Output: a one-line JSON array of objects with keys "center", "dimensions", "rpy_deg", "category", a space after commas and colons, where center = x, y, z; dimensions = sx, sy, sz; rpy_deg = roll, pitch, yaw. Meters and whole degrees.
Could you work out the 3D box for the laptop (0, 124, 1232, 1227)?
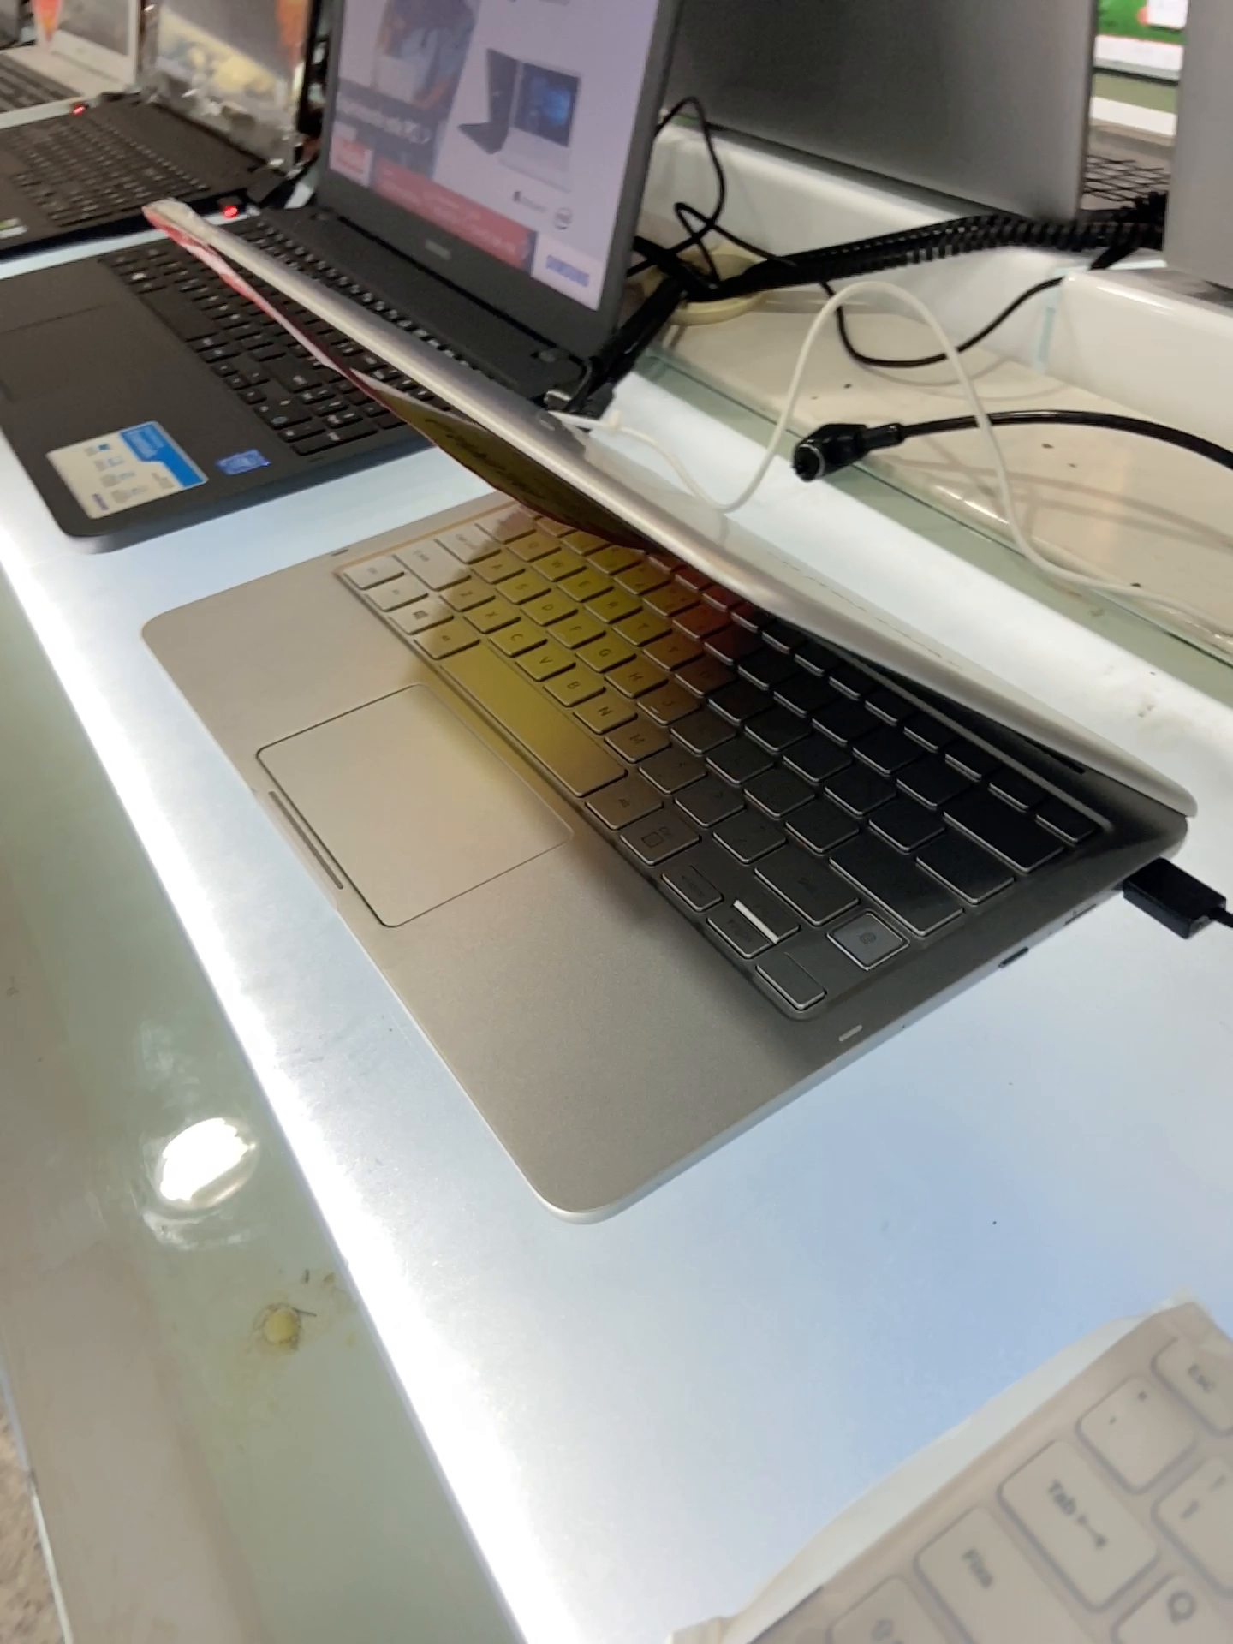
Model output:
[{"center": [-0.019, -0.084, 0.367], "dimensions": [0.201, 0.132, 0.307], "rpy_deg": [-27, 44, -21], "category": "laptop"}]
